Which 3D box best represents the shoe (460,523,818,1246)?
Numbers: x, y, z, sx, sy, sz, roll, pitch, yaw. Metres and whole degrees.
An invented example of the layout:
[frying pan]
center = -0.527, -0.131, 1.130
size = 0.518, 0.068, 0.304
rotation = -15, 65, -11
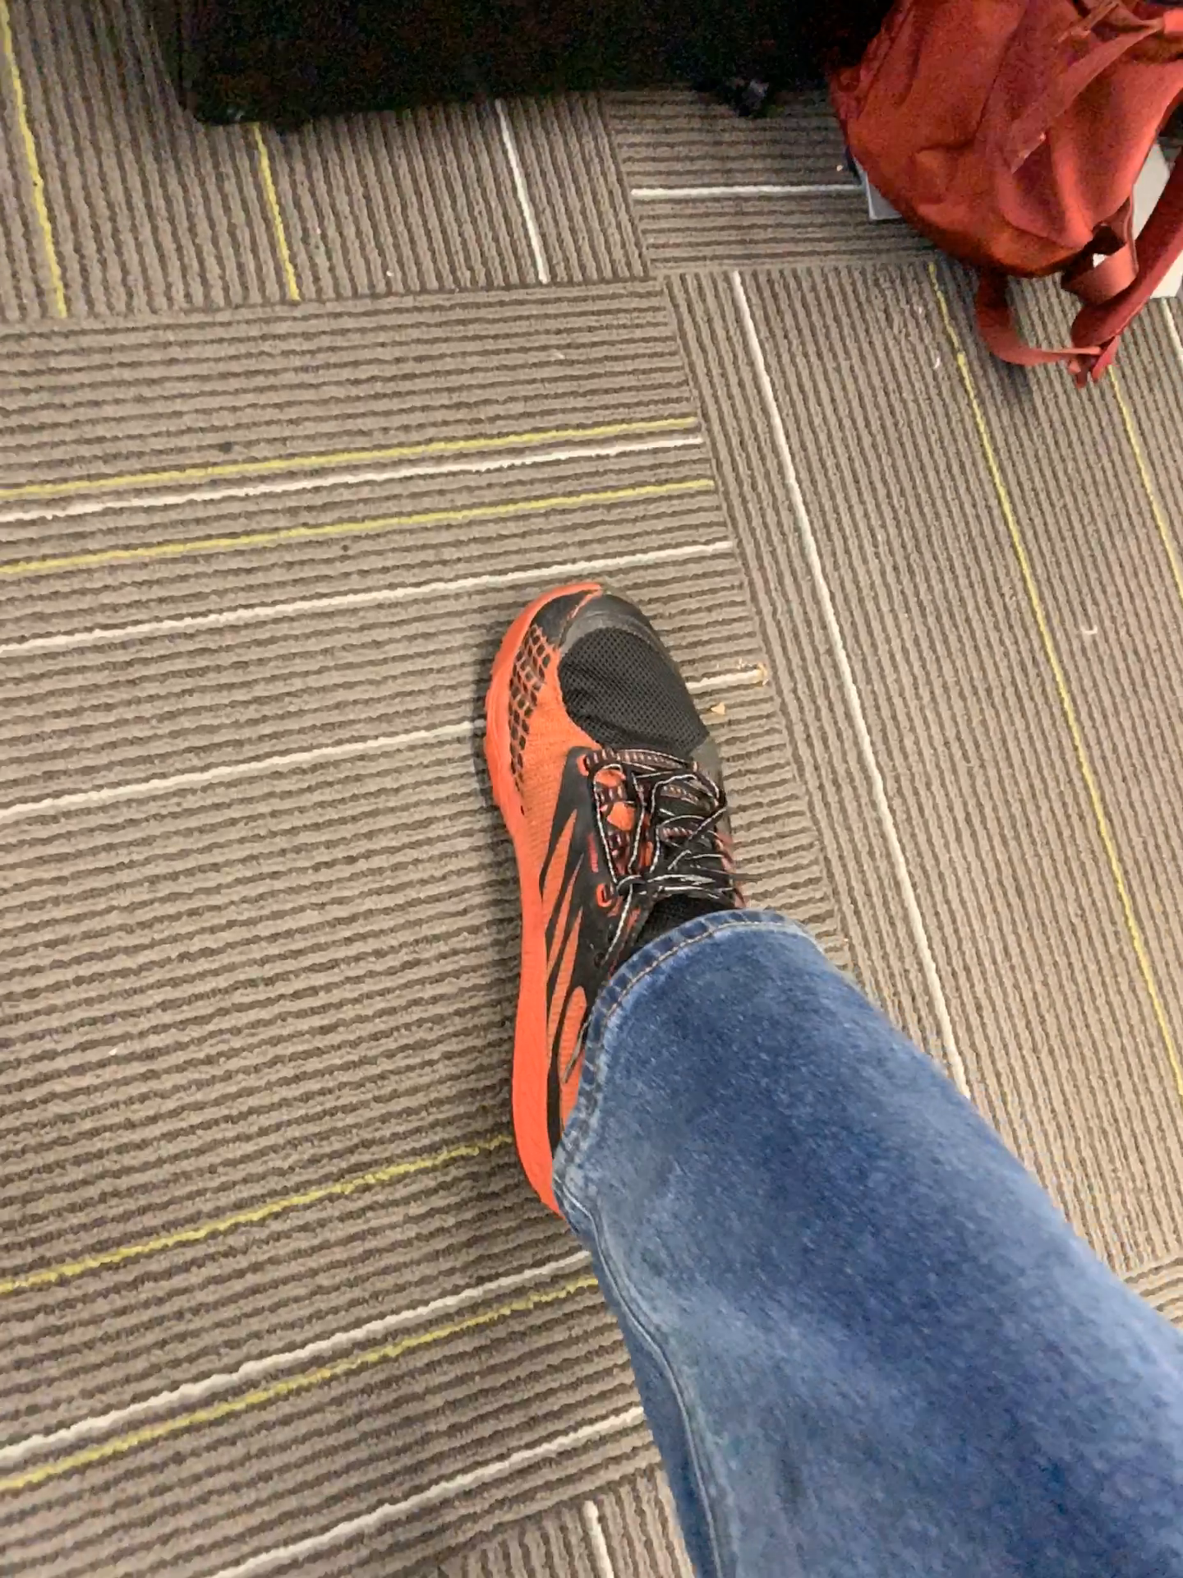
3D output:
[shoe]
center = 0.016, 0.040, 0.586
size = 0.131, 0.077, 0.317
rotation = -1, 79, -18
